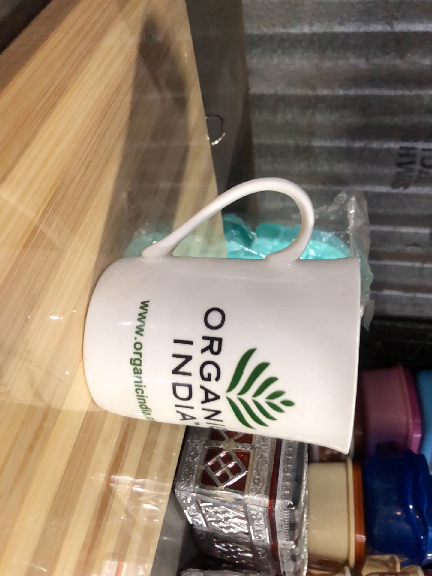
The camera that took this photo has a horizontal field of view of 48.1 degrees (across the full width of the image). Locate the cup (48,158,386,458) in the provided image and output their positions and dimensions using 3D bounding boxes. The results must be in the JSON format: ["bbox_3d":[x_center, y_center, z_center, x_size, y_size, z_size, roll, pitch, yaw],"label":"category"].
[{"bbox_3d":[0.006,0.002,0.206,0.070,0.110,0.100,-64,155,-63],"label":"cup"}]
